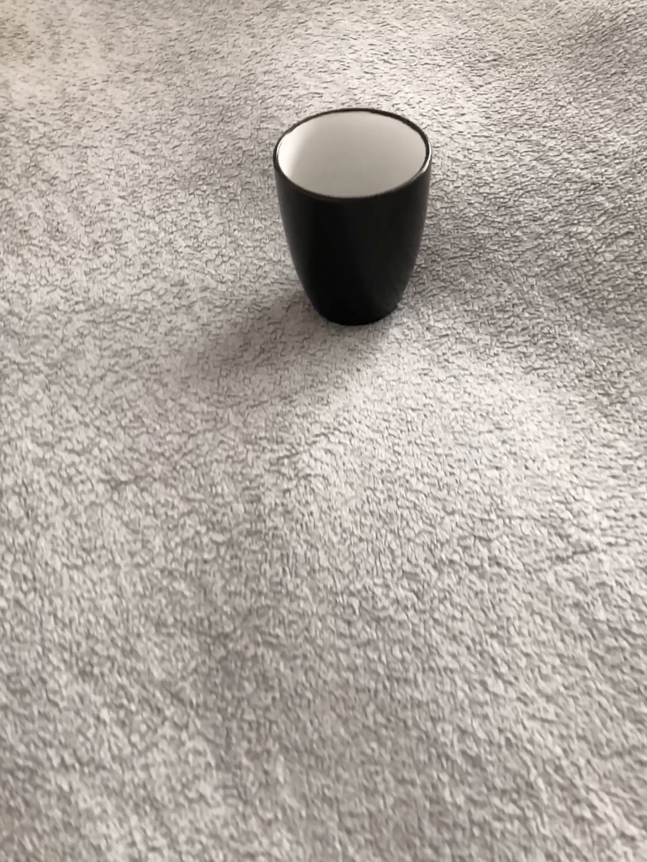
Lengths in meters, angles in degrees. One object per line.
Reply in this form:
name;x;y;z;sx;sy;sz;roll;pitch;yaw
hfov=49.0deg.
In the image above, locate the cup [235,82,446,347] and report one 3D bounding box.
cup;0.018;-0.131;0.424;0.090;0.089;0.129;7;53;13
